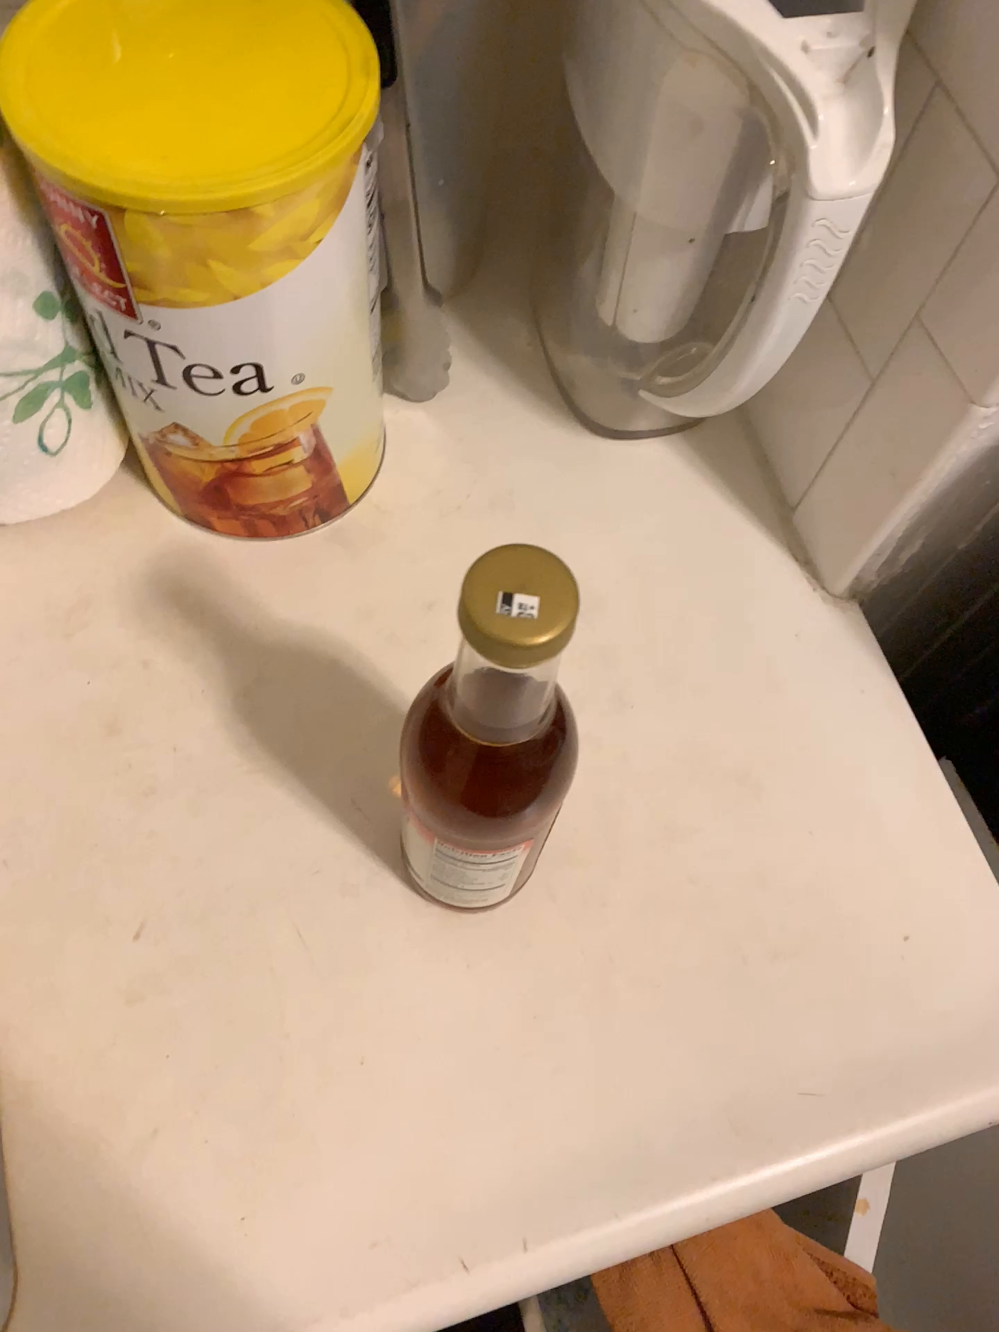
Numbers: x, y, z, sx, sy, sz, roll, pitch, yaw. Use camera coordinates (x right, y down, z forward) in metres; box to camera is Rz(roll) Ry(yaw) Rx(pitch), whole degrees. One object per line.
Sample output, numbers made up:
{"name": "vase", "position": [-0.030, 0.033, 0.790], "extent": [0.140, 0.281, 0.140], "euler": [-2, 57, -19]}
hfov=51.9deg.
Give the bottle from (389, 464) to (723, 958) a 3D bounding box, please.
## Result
{"name": "bottle", "position": [0.005, 0.038, 0.354], "extent": [0.070, 0.240, 0.070], "euler": [2, 65, -5]}
